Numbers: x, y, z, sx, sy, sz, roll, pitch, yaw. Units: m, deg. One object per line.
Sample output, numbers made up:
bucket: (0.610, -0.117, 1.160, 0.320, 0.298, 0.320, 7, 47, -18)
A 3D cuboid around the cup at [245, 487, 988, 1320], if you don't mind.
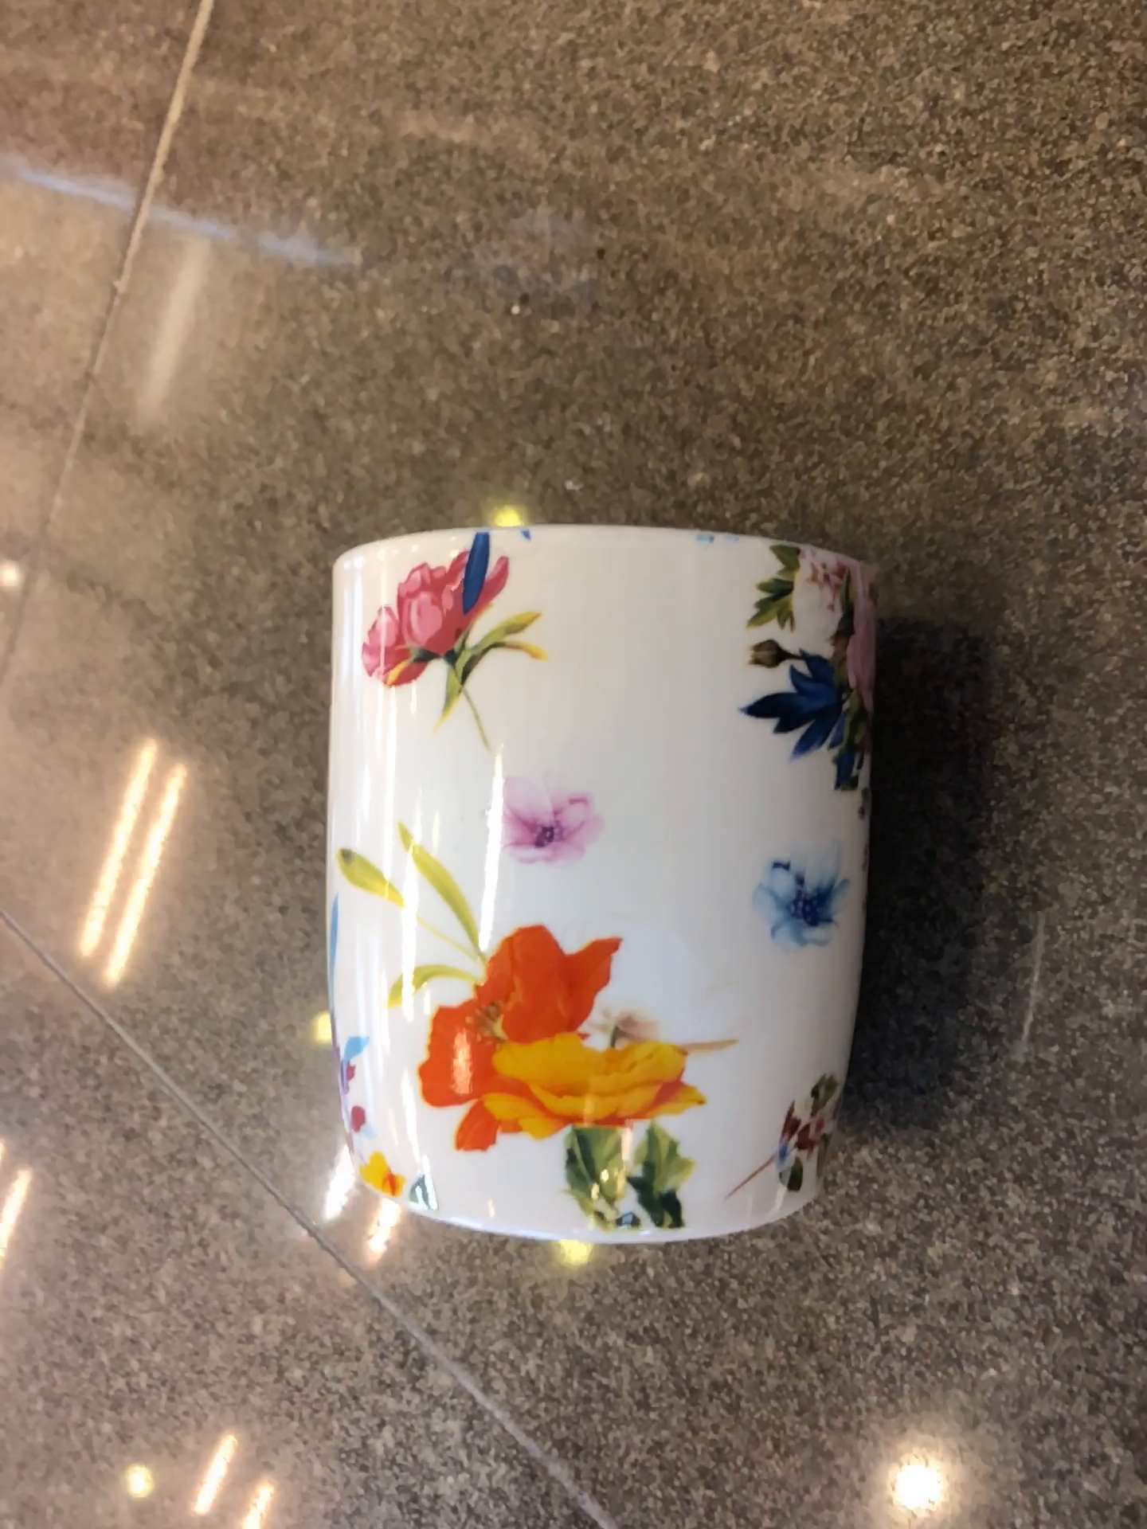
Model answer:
cup: (-0.005, 0.019, 0.208, 0.120, 0.080, 0.090, 174, 99, -72)
